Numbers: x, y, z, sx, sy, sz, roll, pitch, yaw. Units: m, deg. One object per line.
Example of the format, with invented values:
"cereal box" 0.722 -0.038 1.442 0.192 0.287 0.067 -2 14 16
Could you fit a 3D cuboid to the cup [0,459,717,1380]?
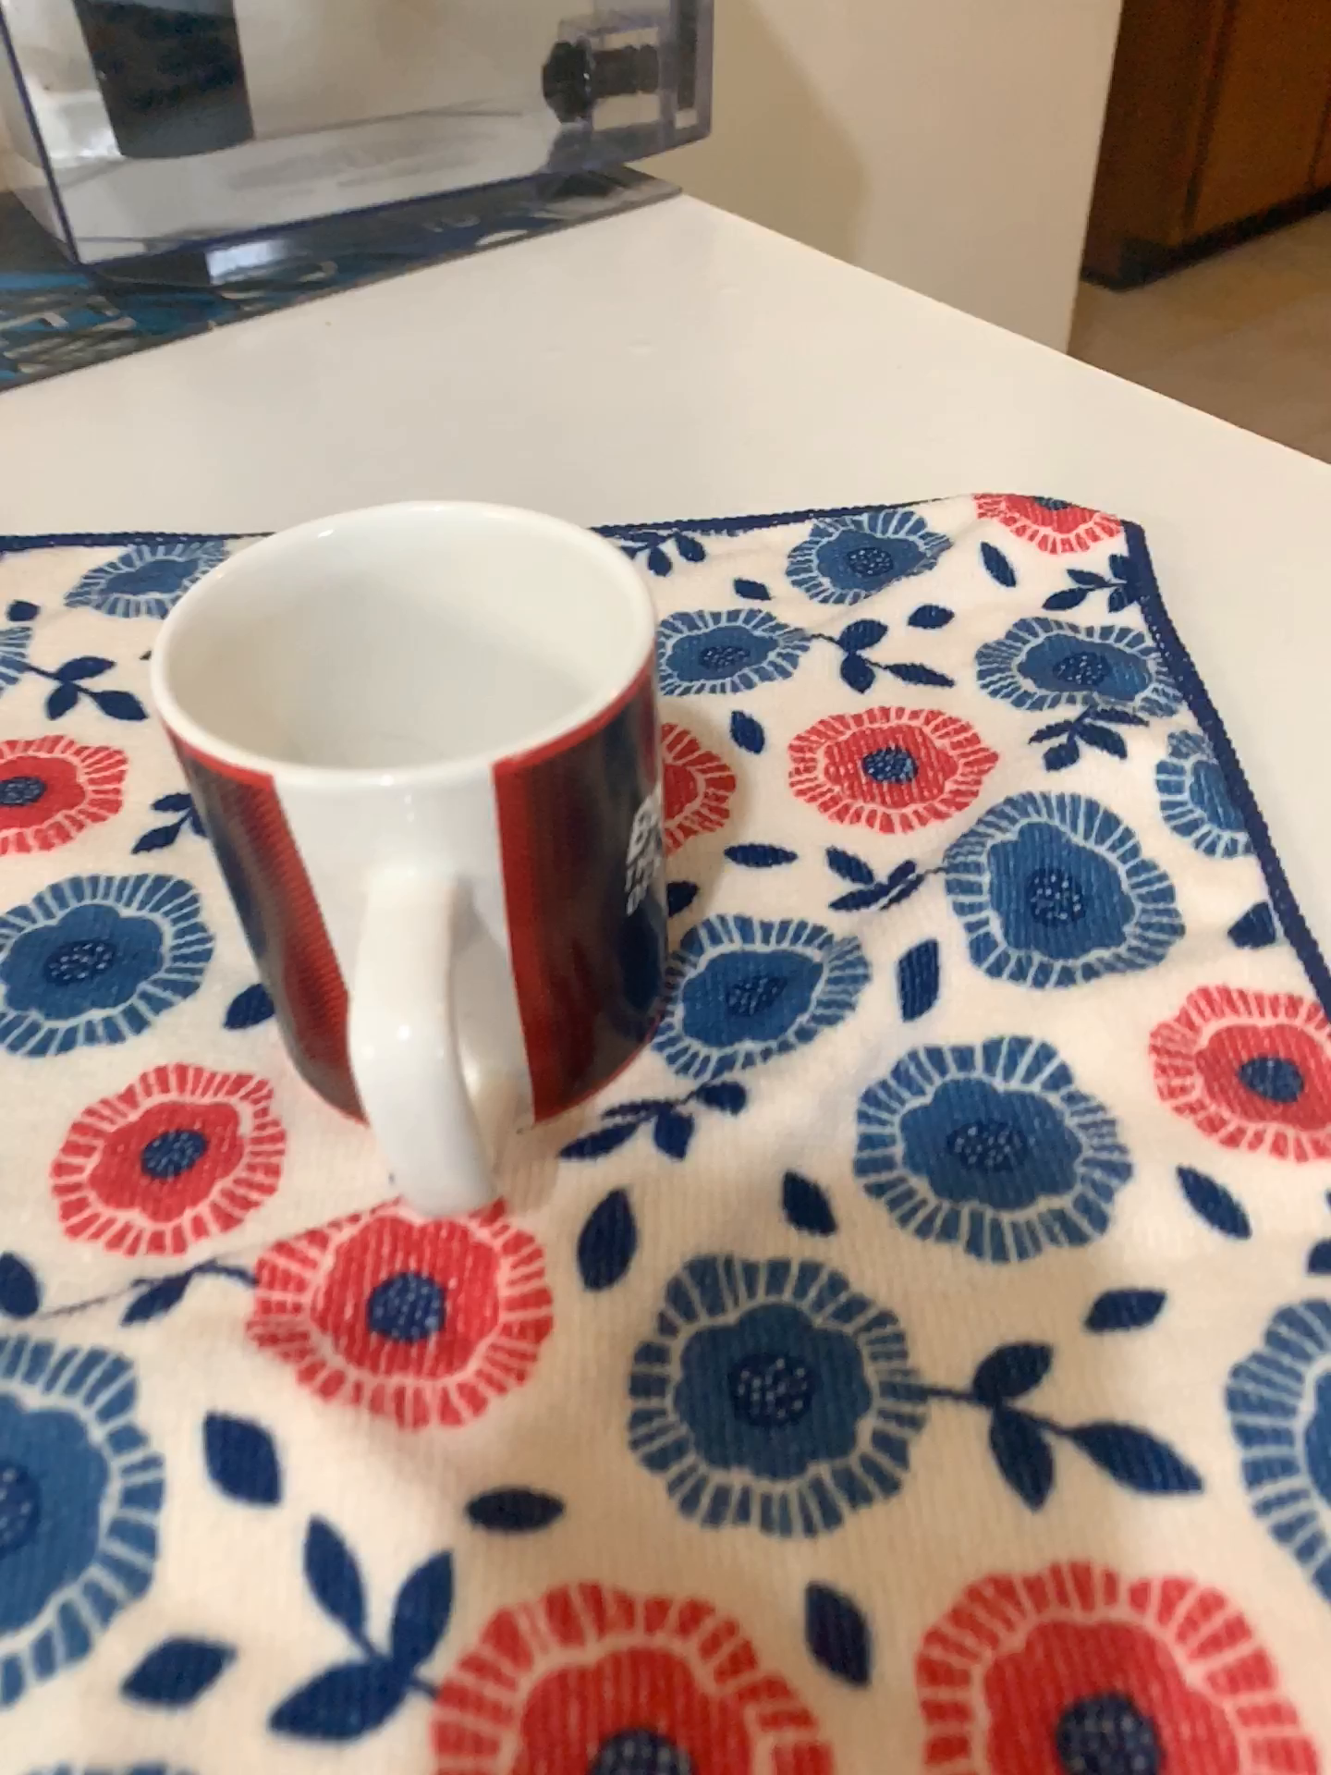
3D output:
"cup" -0.040 0.001 0.223 0.080 0.089 0.111 -6 43 -3
